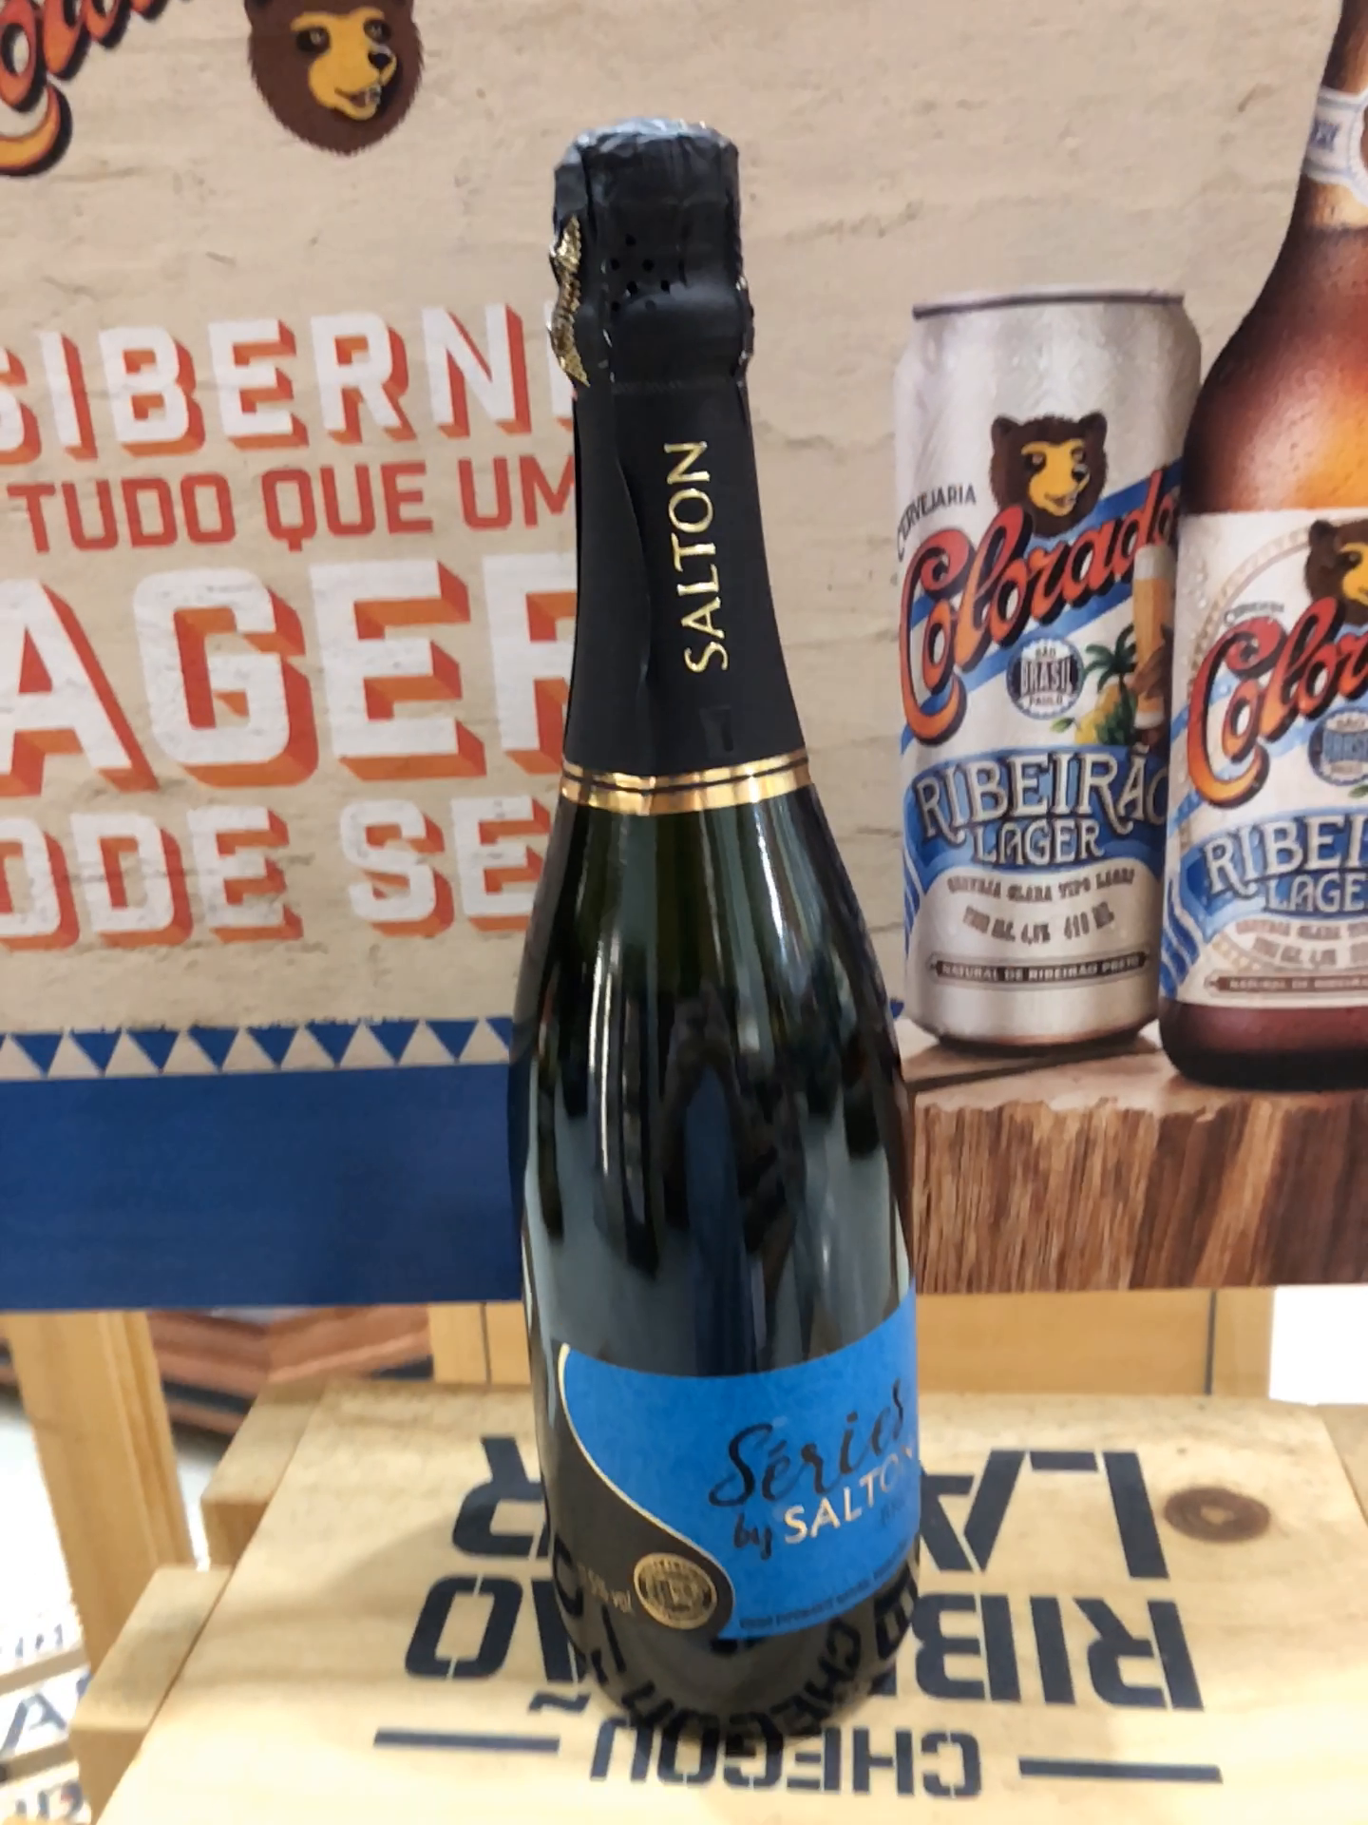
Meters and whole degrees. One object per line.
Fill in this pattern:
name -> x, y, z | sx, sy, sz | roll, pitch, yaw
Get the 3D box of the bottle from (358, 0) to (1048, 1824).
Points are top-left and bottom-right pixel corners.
bottle -> 0.007, 0.005, 0.299 | 0.090, 0.318, 0.080 | -10, 18, -22
